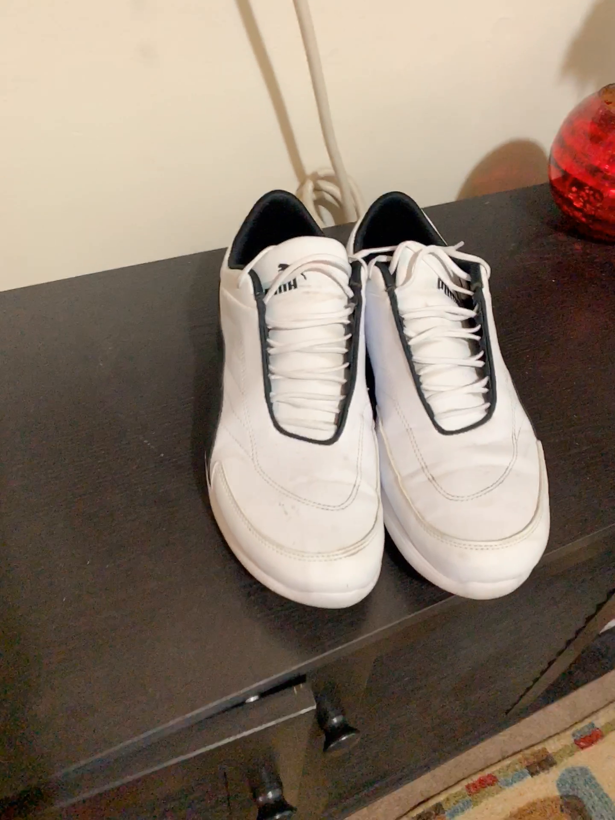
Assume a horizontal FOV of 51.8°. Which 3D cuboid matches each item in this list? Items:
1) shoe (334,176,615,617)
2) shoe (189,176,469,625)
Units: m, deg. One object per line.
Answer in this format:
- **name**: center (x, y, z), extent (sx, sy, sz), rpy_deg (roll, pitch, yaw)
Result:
- **shoe**: center (0.089, -0.031, 0.407), extent (0.100, 0.089, 0.293), rpy_deg (-2, 51, -7)
- **shoe**: center (-0.006, -0.027, 0.391), extent (0.120, 0.089, 0.283), rpy_deg (-2, 51, -7)
